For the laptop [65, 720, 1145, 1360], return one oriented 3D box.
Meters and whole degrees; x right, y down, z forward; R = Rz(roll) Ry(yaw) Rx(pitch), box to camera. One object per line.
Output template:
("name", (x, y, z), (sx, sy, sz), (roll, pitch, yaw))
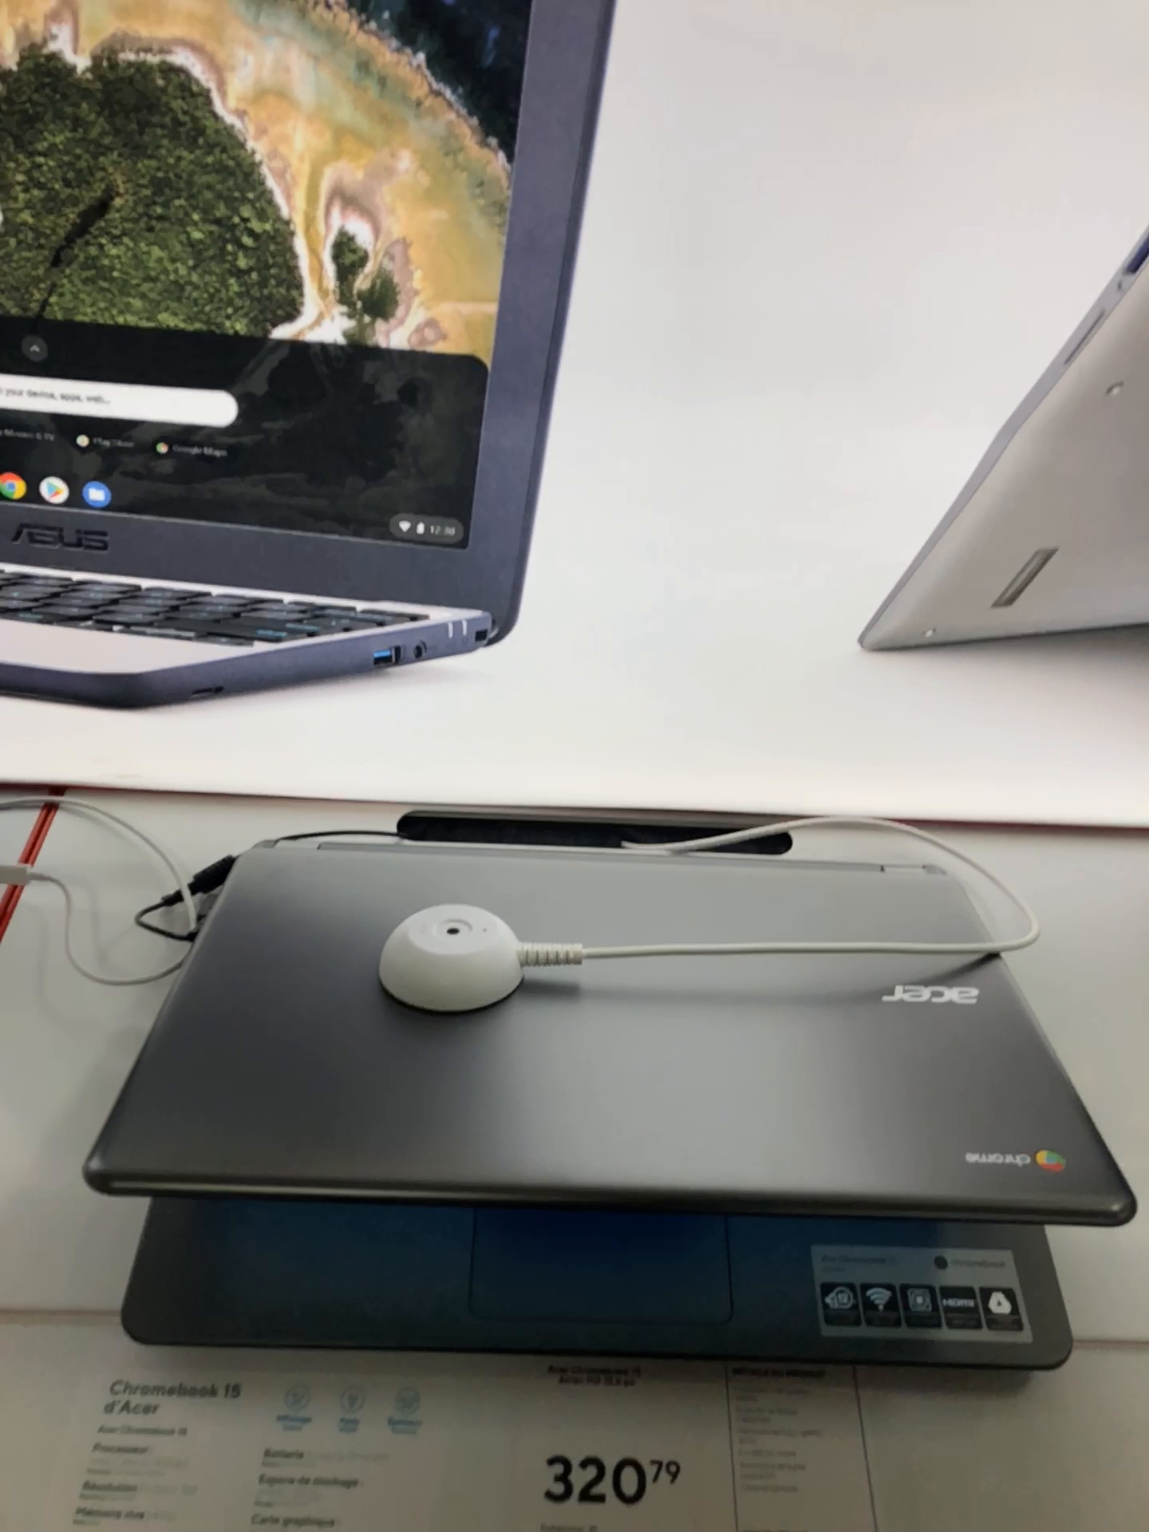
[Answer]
("laptop", (0.009, 0.105, 0.549), (0.369, 0.088, 0.249), (3, 44, -1))
